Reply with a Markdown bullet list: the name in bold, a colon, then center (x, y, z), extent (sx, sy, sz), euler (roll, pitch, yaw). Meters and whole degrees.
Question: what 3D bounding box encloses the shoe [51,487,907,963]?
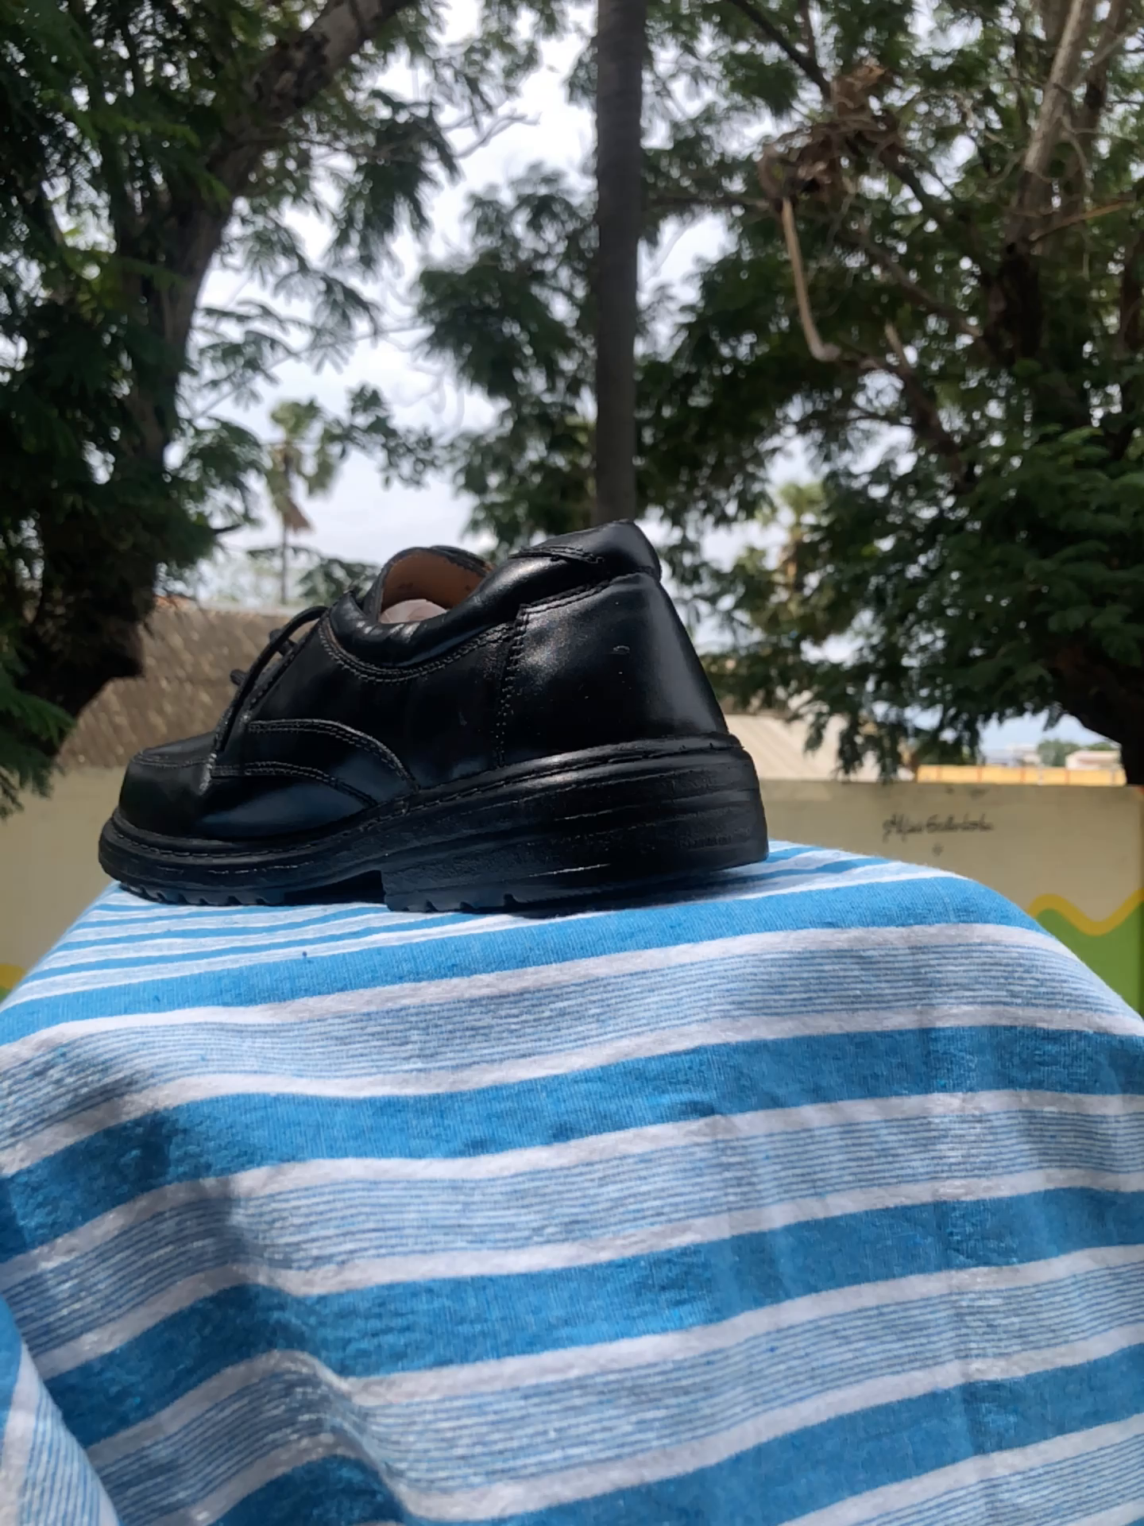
- **shoe**: center (-0.051, -0.012, 0.408), extent (0.110, 0.100, 0.289), euler (-5, 4, -44)
